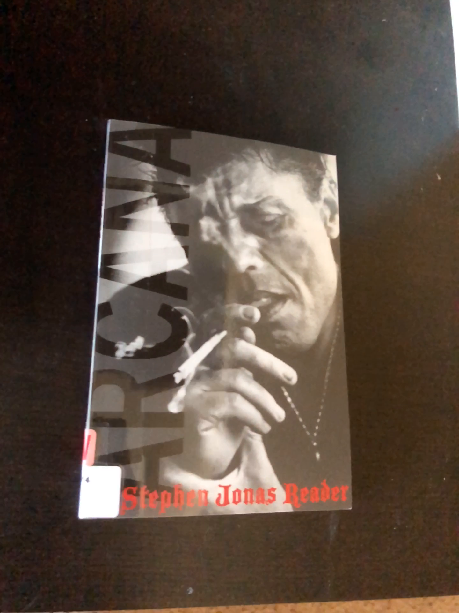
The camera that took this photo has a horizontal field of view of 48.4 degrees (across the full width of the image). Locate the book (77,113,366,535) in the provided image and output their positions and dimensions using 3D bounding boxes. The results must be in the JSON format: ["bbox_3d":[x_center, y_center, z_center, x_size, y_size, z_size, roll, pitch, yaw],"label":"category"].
[{"bbox_3d":[0.000,0.008,0.345,0.179,0.024,0.260,4,77,-16],"label":"book"}]
